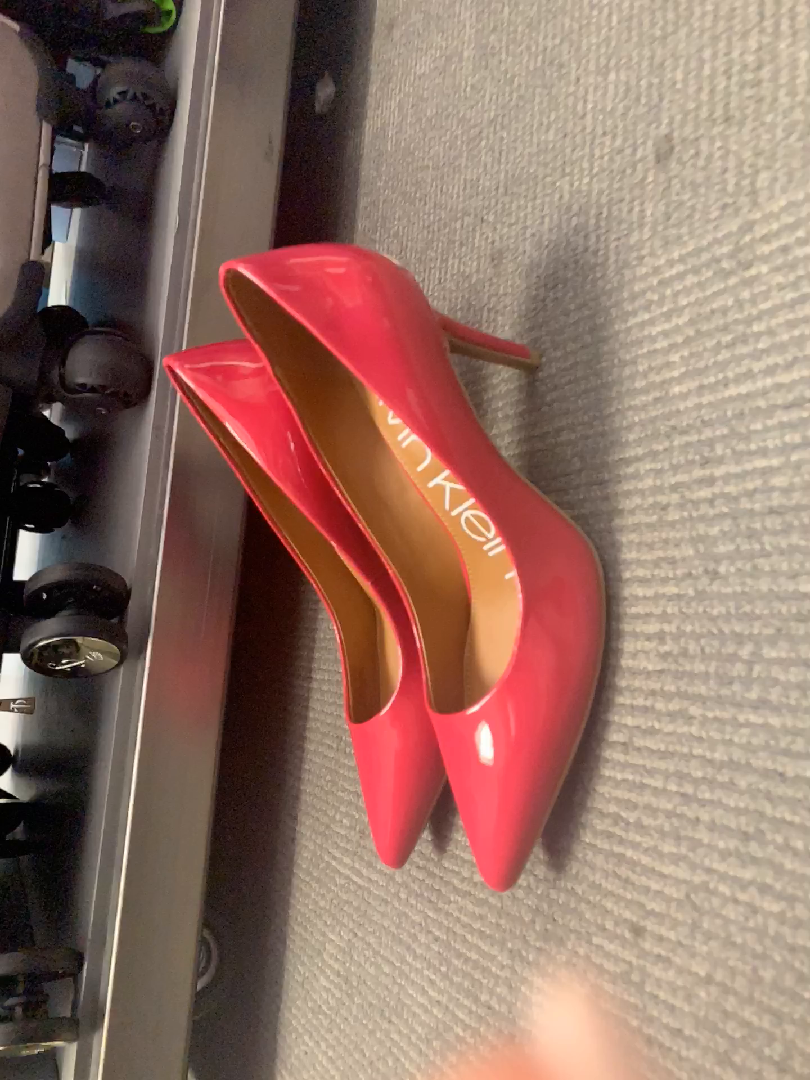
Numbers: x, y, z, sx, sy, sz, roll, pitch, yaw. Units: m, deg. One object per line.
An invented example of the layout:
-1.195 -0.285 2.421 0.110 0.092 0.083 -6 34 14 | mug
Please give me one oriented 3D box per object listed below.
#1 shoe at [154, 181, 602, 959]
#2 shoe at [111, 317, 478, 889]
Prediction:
-0.009 0.011 0.284 0.074 0.120 0.216 -23 64 59 | shoe
-0.045 0.029 0.359 0.075 0.129 0.208 -23 64 59 | shoe
